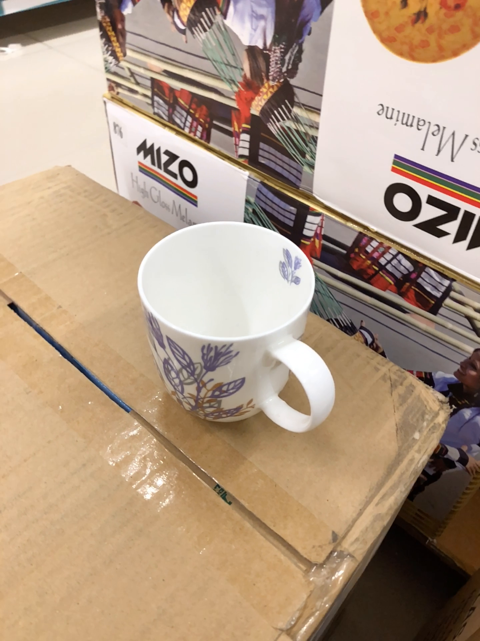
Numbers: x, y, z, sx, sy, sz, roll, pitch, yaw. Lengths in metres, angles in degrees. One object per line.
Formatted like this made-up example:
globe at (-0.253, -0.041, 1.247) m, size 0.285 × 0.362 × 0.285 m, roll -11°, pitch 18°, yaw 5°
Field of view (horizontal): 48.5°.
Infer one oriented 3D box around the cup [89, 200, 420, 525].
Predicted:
cup at (0.003, 0.012, 0.263) m, size 0.090 × 0.070 × 0.120 m, roll -33°, pitch 55°, yaw -30°
